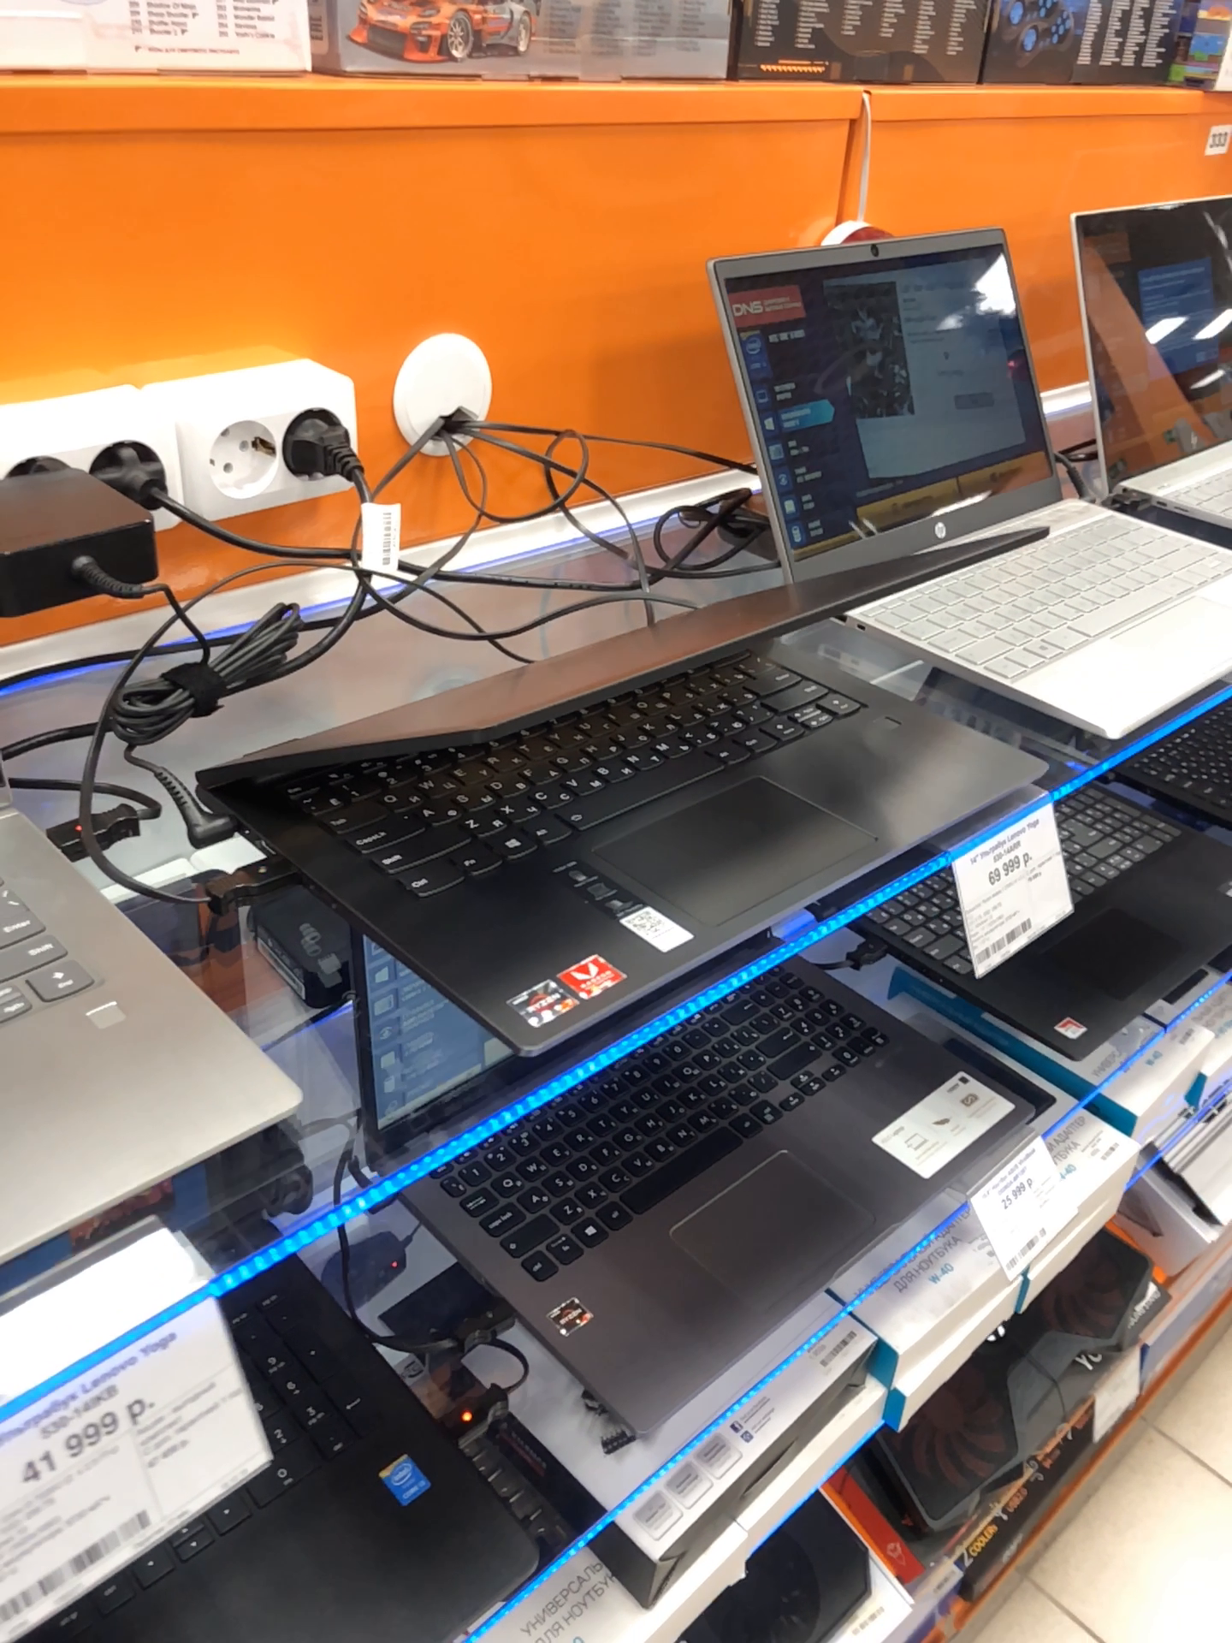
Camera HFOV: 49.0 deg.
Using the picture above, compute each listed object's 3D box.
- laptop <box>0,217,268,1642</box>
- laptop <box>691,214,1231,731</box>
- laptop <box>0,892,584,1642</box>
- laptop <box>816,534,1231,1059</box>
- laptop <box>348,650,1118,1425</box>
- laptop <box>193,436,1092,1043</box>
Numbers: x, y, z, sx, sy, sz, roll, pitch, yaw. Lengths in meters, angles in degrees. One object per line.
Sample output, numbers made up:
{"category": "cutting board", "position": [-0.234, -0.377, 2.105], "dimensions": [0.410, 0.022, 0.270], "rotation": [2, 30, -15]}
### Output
{"category": "laptop", "position": [-0.296, -0.011, 0.348], "dimensions": [0.312, 0.219, 0.267], "rotation": [-23, 41, -39]}
{"category": "laptop", "position": [0.265, -0.240, 0.834], "dimensions": [0.283, 0.162, 0.318], "rotation": [-24, 44, -35]}
{"category": "laptop", "position": [-0.247, 0.242, 0.522], "dimensions": [0.266, 0.223, 0.374], "rotation": [30, 39, 35]}
{"category": "laptop", "position": [0.376, -0.044, 1.059], "dimensions": [0.345, 0.229, 0.254], "rotation": [-23, 40, -36]}
{"category": "laptop", "position": [0.065, 0.095, 0.813], "dimensions": [0.354, 0.236, 0.256], "rotation": [-24, 41, -37]}
{"category": "laptop", "position": [0.020, -0.067, 0.596], "dimensions": [0.325, 0.102, 0.214], "rotation": [-24, 42, -38]}
